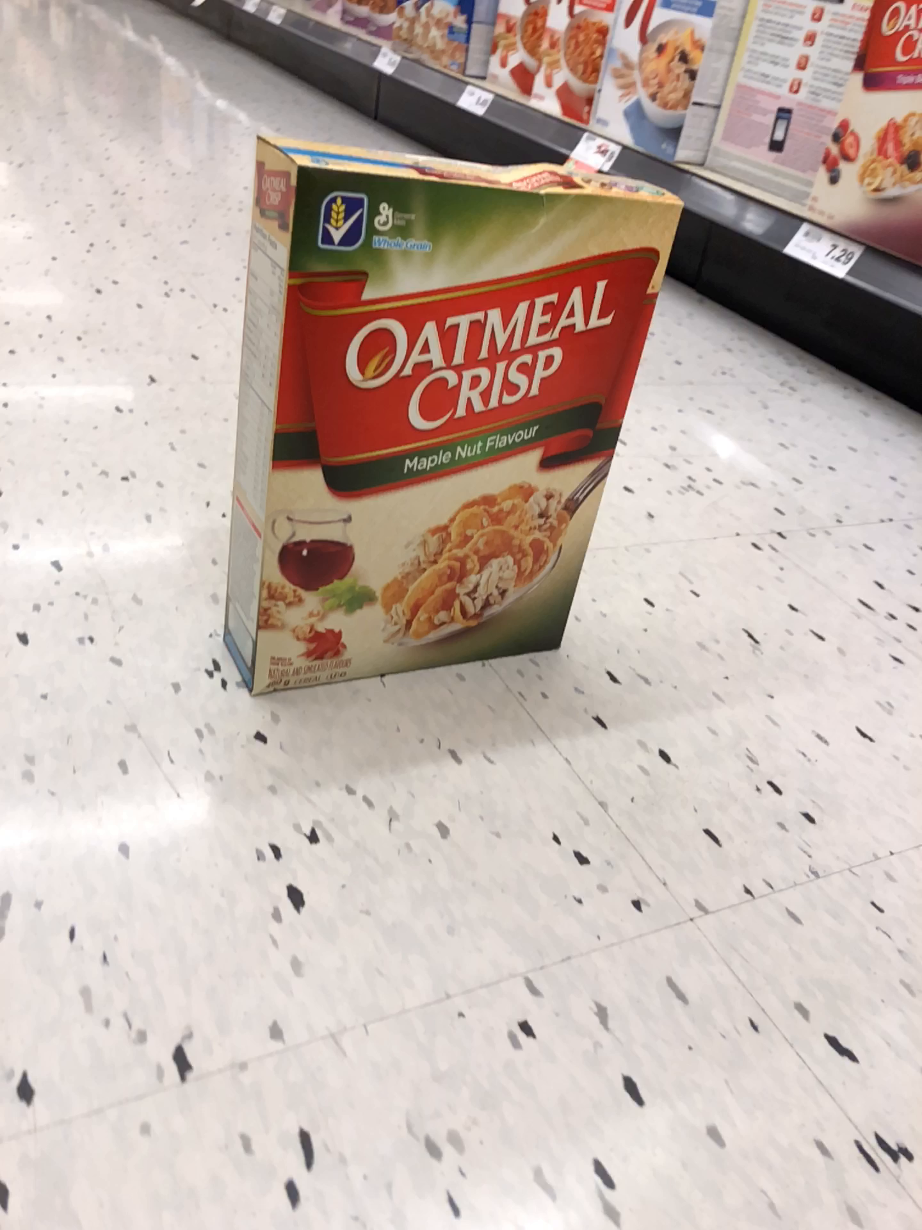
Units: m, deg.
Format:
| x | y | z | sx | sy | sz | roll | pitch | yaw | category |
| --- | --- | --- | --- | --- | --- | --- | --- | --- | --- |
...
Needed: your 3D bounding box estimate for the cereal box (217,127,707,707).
| x | y | z | sx | sy | sz | roll | pitch | yaw | category |
| --- | --- | --- | --- | --- | --- | --- | --- | --- | --- |
| -0.008 | -0.087 | 0.507 | 0.200 | 0.258 | 0.050 | -7 | 37 | -29 | cereal box |
